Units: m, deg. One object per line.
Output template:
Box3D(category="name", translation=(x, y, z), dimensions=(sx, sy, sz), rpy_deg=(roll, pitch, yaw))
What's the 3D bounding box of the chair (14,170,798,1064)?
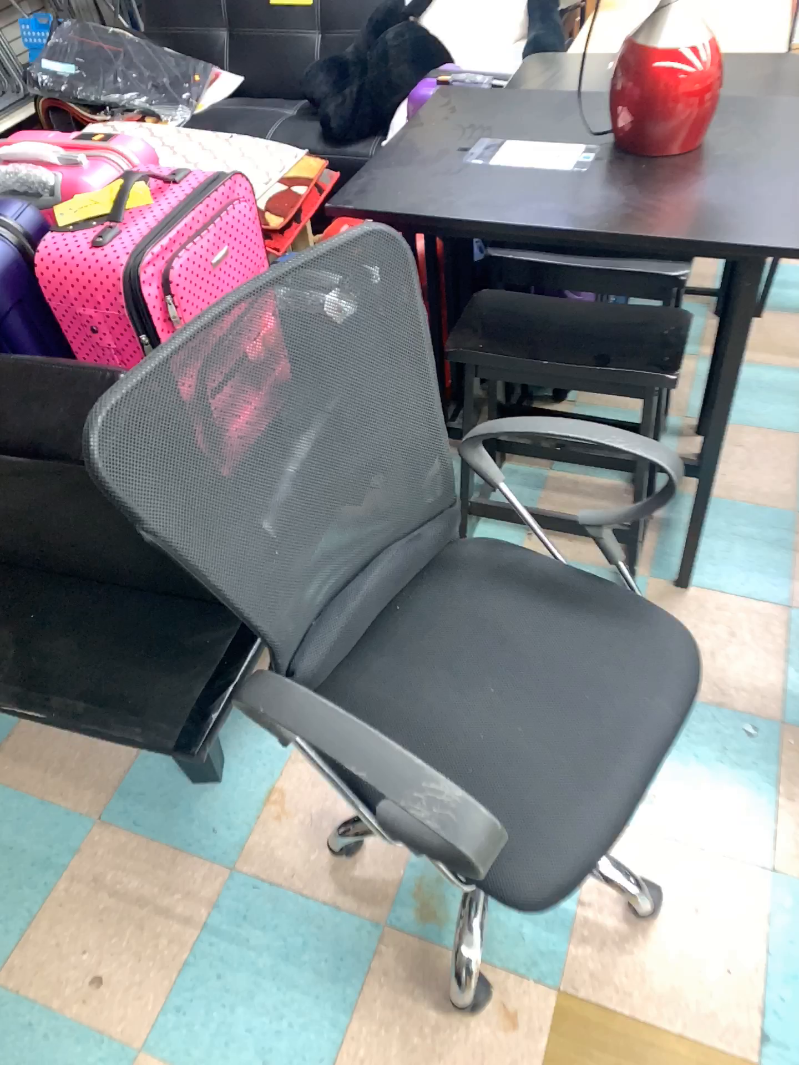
Box3D(category="chair", translation=(0.132, 0.195, 1.096), dimensions=(0.601, 1.020, 0.622), rpy_deg=(24, 54, 27))
